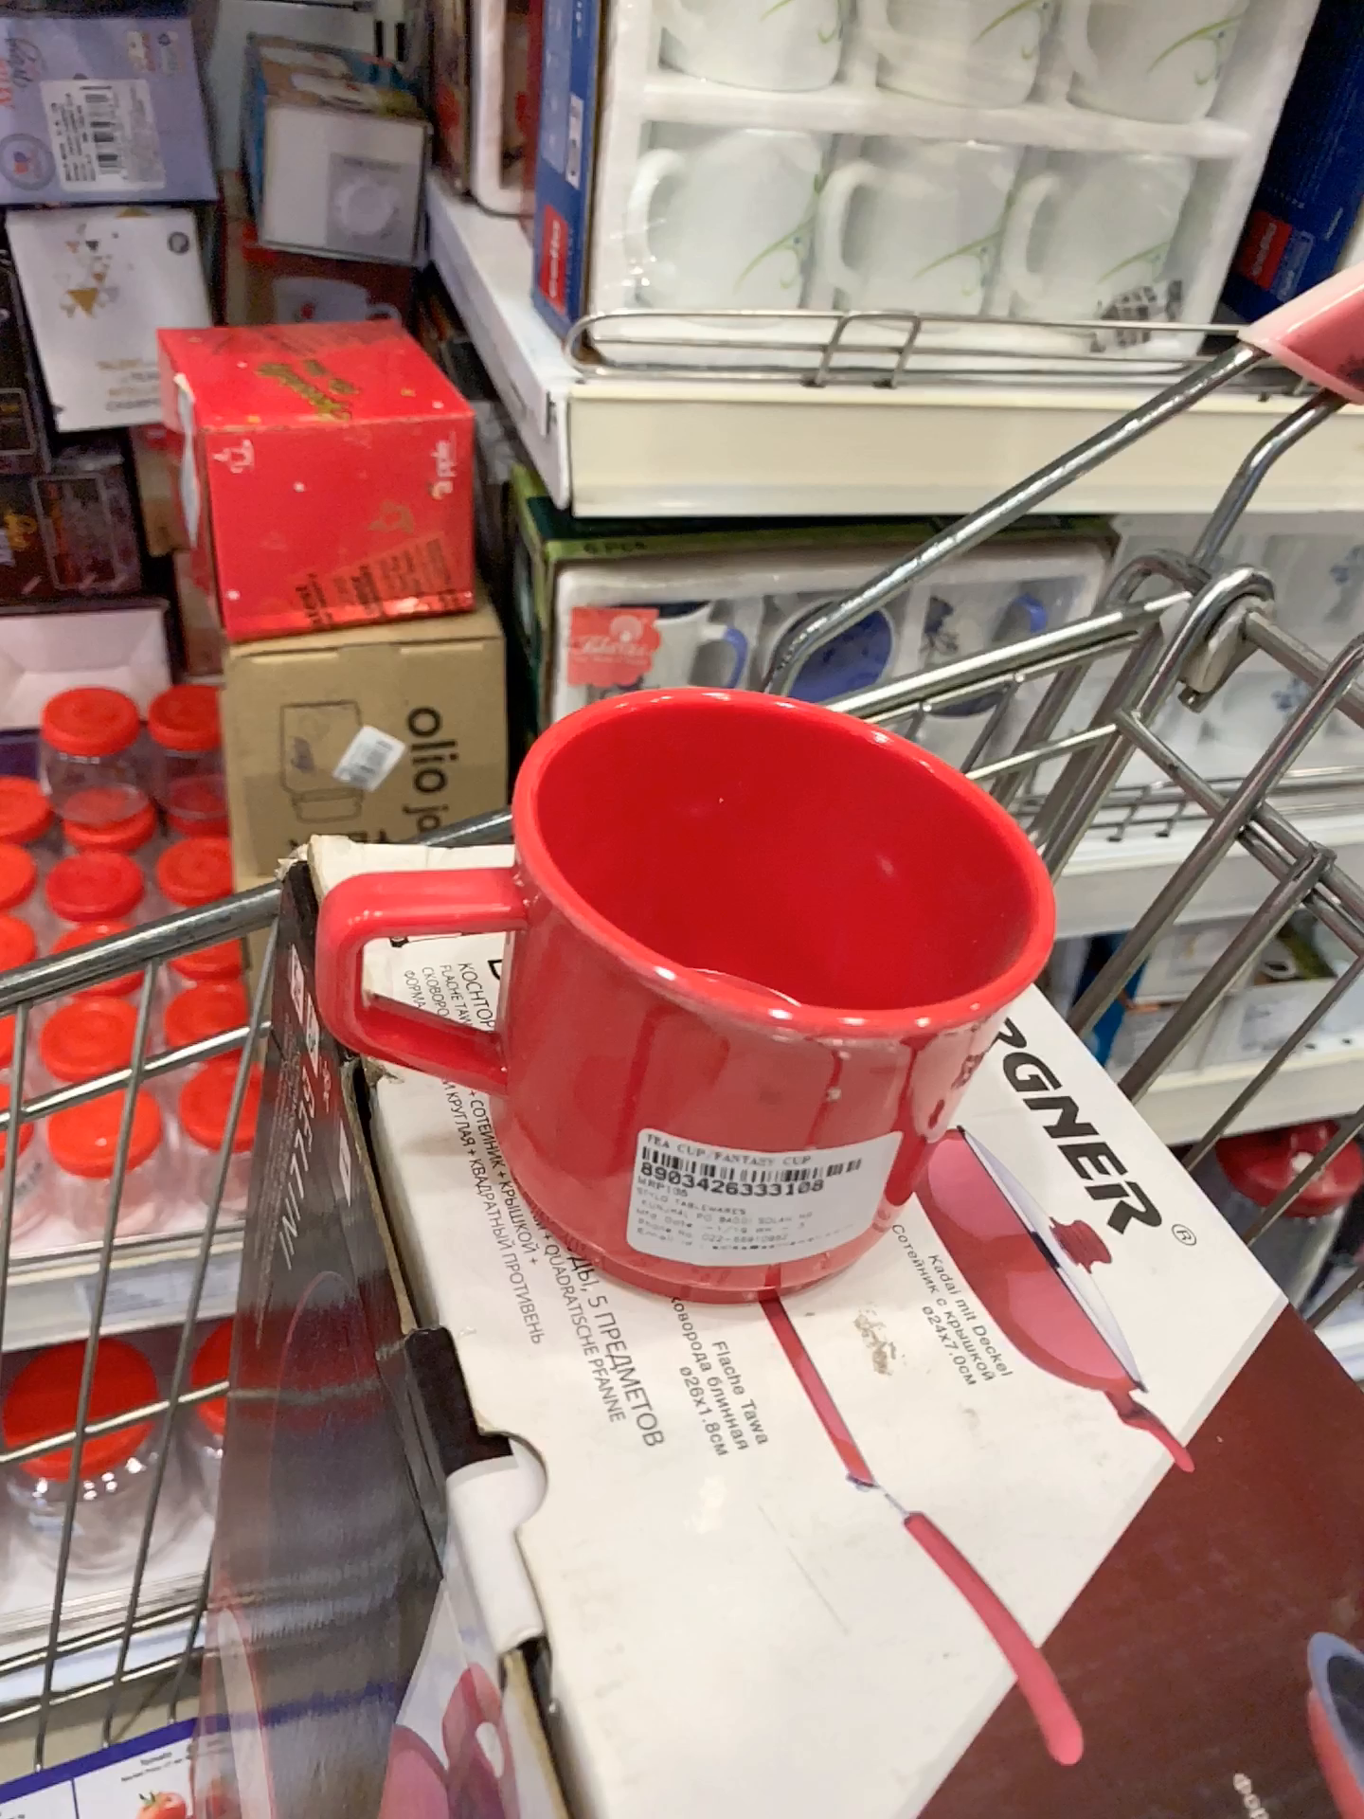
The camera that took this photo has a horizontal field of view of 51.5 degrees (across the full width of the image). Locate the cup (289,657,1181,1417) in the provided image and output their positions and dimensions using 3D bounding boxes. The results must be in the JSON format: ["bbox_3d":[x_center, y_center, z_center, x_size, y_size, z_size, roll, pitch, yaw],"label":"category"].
[{"bbox_3d":[-0.002,0.011,0.185,0.090,0.060,0.070,-3,41,-17],"label":"cup"}]
